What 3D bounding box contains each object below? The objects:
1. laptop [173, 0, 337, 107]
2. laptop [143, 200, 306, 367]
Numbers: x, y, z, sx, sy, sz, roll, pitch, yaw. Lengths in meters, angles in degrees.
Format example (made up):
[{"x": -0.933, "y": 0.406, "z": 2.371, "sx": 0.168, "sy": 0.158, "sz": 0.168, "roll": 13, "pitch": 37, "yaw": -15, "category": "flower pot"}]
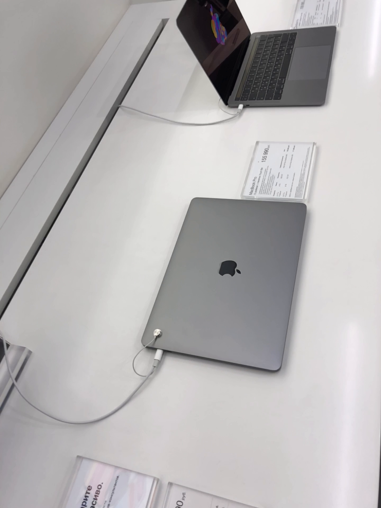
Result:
[{"x": 0.159, "y": -0.497, "z": 0.909, "sx": 0.276, "sy": 0.187, "sz": 0.310, "roll": 4, "pitch": 54, "yaw": 16, "category": "laptop"}, {"x": 0.061, "y": 0.027, "z": 0.669, "sx": 0.202, "sy": 0.001, "sz": 0.280, "roll": 7, "pitch": 58, "yaw": 19, "category": "laptop"}]
